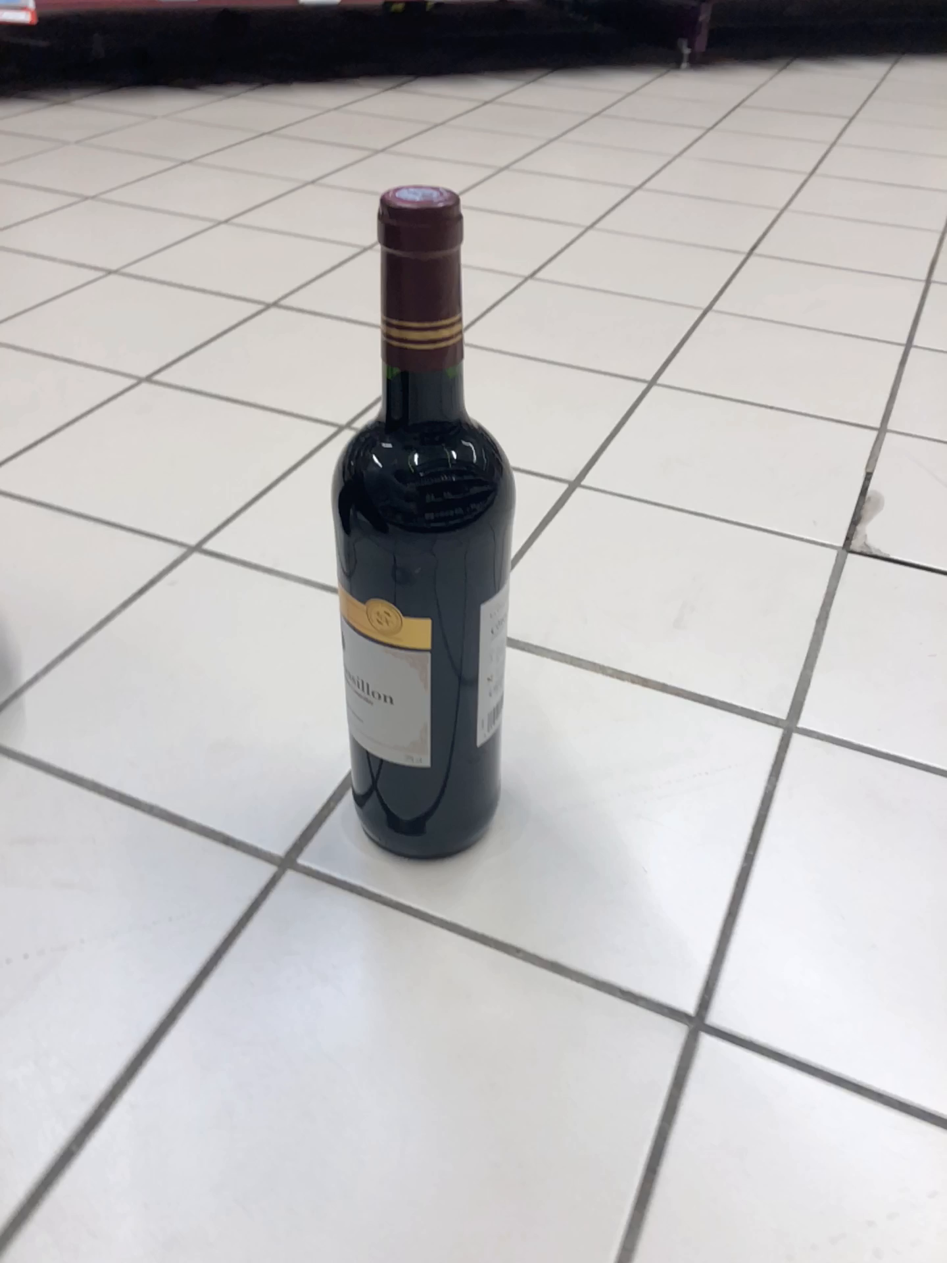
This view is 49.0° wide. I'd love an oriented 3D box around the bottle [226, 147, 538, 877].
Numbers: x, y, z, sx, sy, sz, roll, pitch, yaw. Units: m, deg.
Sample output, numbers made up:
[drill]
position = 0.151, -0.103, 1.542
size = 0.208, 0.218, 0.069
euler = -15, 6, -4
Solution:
[bottle]
position = -0.028, -0.032, 0.429
size = 0.090, 0.288, 0.091
euler = 1, 38, -1
